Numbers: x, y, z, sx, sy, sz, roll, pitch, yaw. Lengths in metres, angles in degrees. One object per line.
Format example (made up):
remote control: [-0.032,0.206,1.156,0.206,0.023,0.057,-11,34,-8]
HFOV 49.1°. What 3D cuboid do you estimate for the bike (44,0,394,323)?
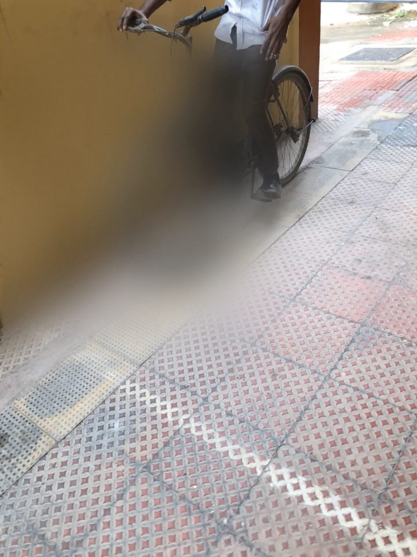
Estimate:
bike: [0.218,-0.734,2.056,0.588,1.024,1.581,21,42,34]
